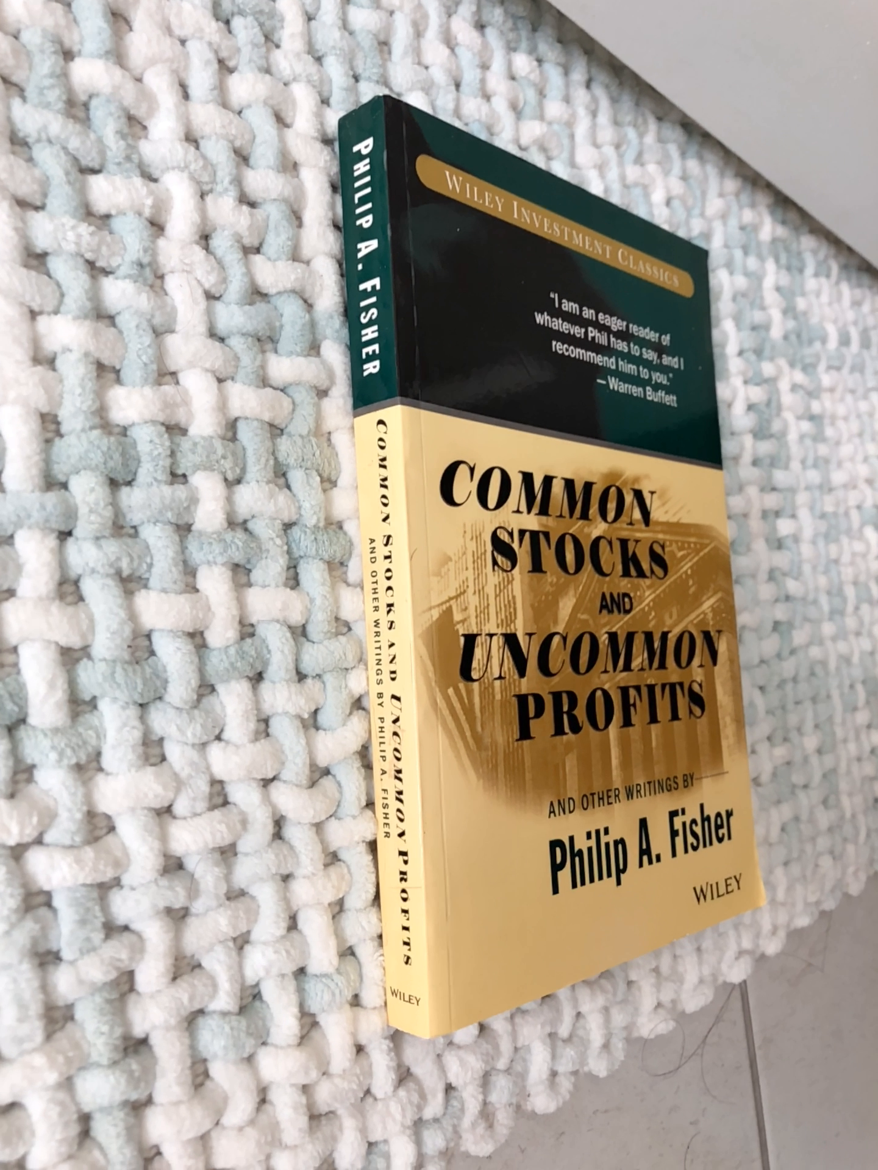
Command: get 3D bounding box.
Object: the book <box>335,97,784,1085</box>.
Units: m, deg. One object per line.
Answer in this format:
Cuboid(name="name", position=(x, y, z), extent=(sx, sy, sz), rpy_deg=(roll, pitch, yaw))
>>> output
Cuboid(name="book", position=(0.047, -0.001, 0.312), extent=(0.167, 0.026, 0.247), rpy_deg=(2, 83, -45))
